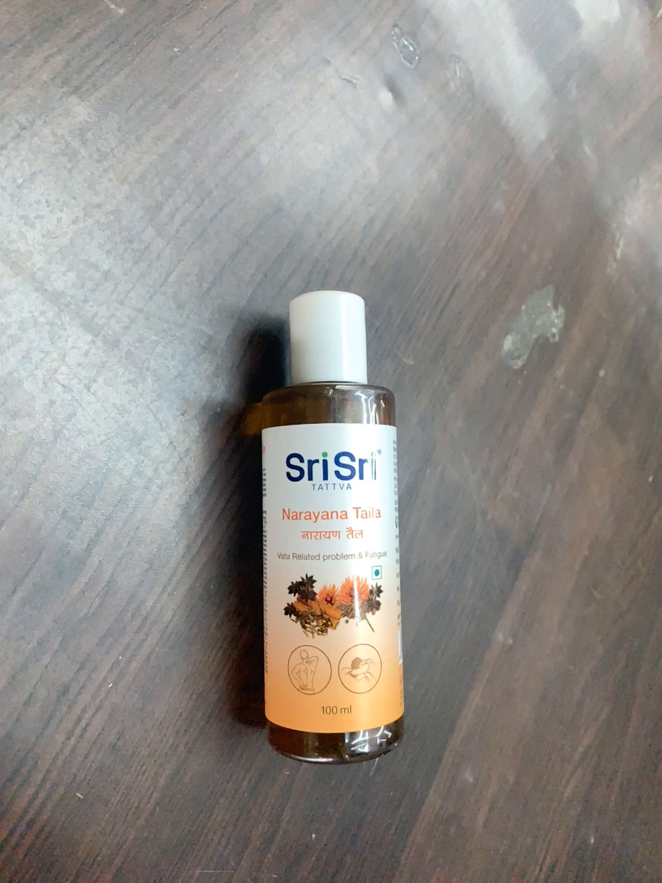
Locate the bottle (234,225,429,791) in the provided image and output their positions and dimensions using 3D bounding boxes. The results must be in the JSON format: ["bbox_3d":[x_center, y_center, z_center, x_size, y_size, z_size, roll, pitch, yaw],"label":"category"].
[{"bbox_3d":[-0.002,0.016,0.197,0.040,0.040,0.140,-1,87,-19],"label":"bottle"}]
